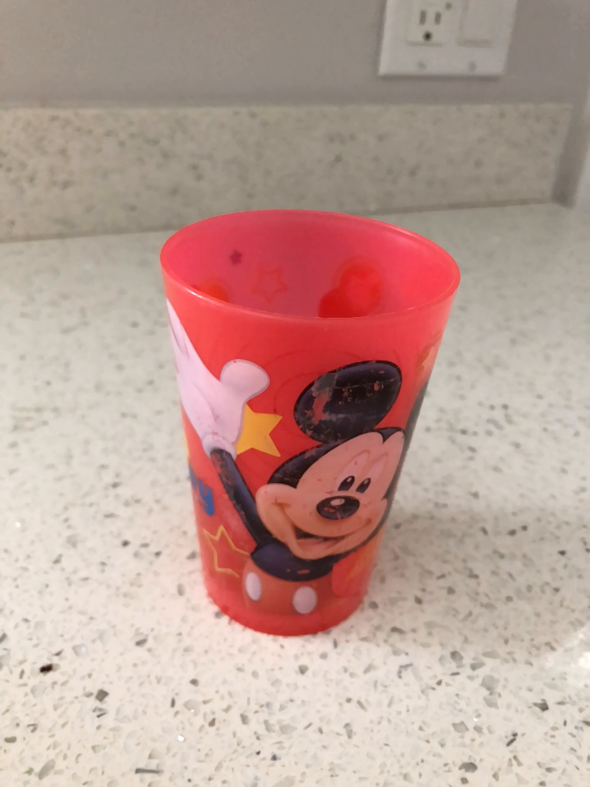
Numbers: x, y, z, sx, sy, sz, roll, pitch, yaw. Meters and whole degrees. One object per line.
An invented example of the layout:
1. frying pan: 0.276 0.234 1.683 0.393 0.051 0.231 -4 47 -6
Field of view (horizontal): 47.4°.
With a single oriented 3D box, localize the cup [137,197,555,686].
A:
1. cup: 0.004 0.008 0.179 0.073 0.096 0.071 3 32 -2
